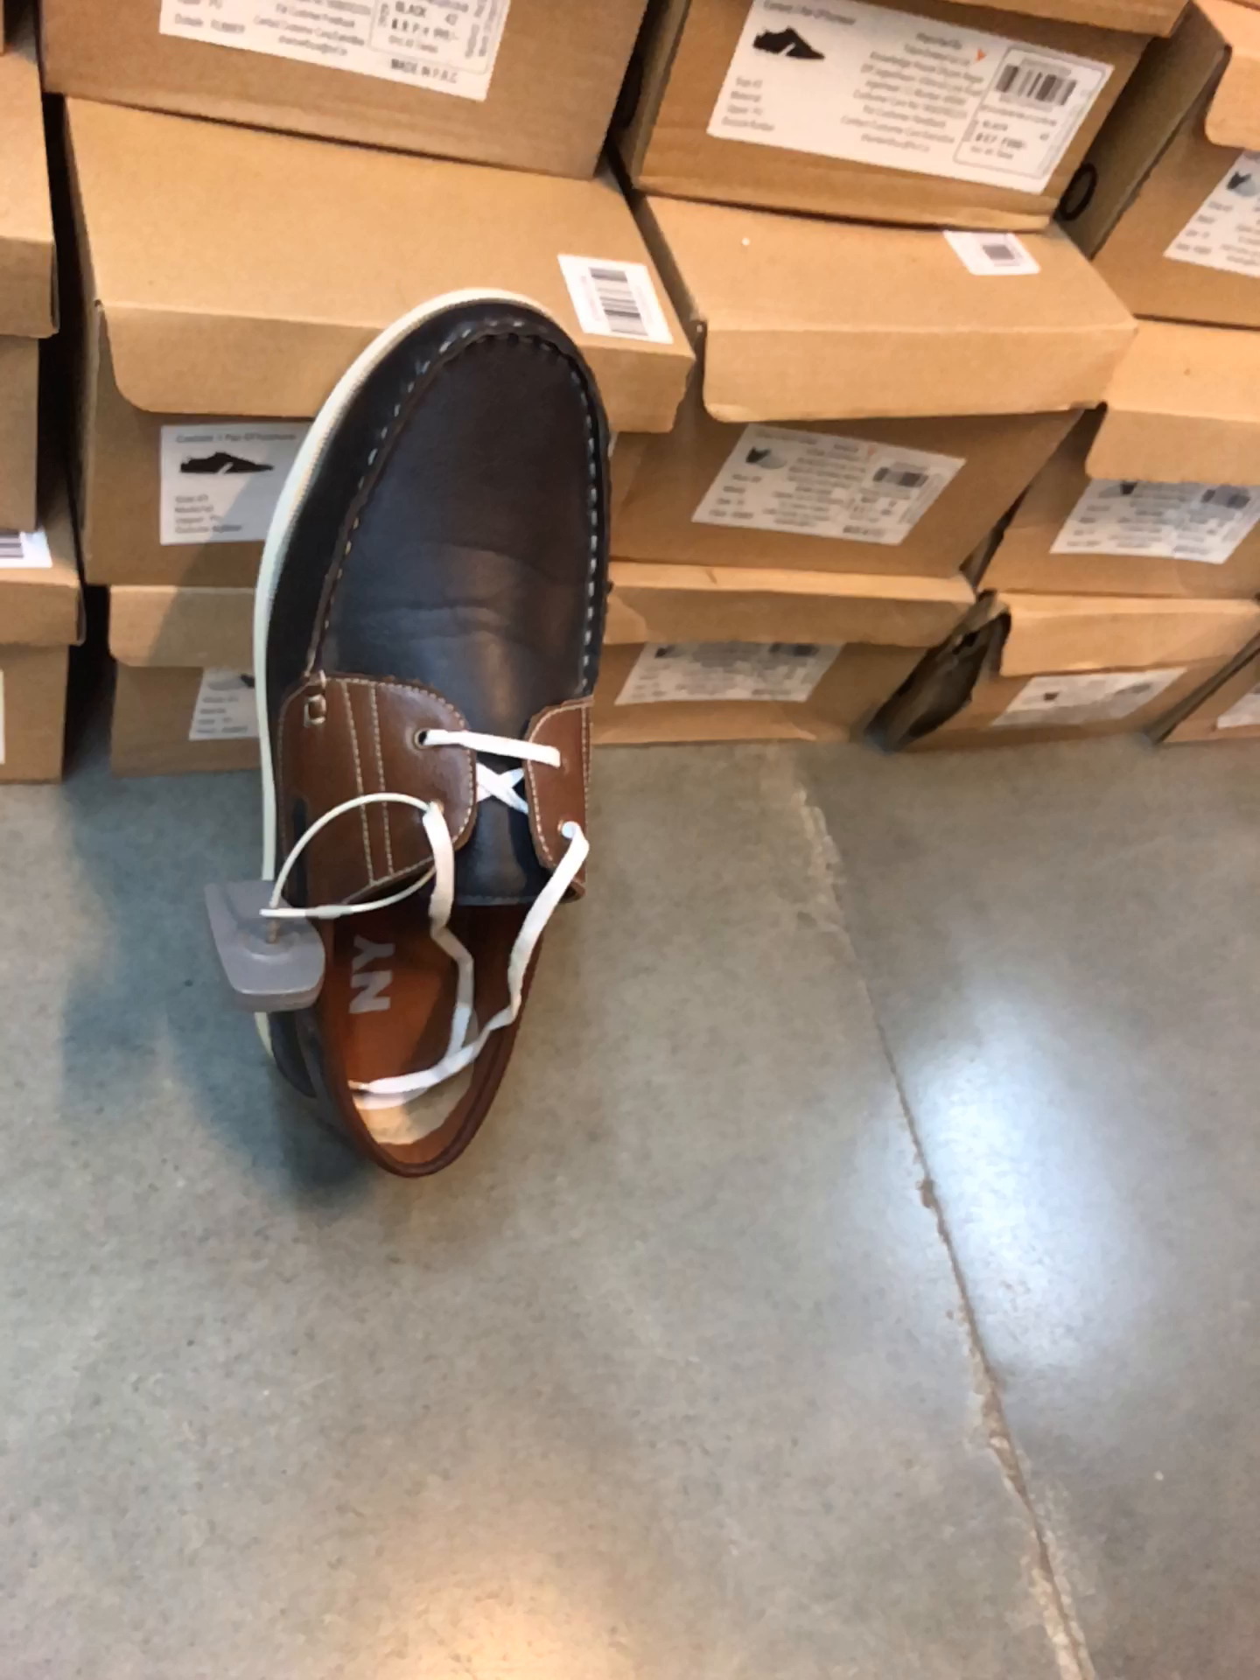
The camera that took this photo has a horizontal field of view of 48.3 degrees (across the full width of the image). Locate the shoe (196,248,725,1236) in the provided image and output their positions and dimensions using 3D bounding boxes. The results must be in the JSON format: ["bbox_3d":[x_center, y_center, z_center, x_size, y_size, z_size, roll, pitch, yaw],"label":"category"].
[{"bbox_3d":[-0.063,-0.027,0.422,0.102,0.264,0.099,2,20,-24],"label":"shoe"}]
